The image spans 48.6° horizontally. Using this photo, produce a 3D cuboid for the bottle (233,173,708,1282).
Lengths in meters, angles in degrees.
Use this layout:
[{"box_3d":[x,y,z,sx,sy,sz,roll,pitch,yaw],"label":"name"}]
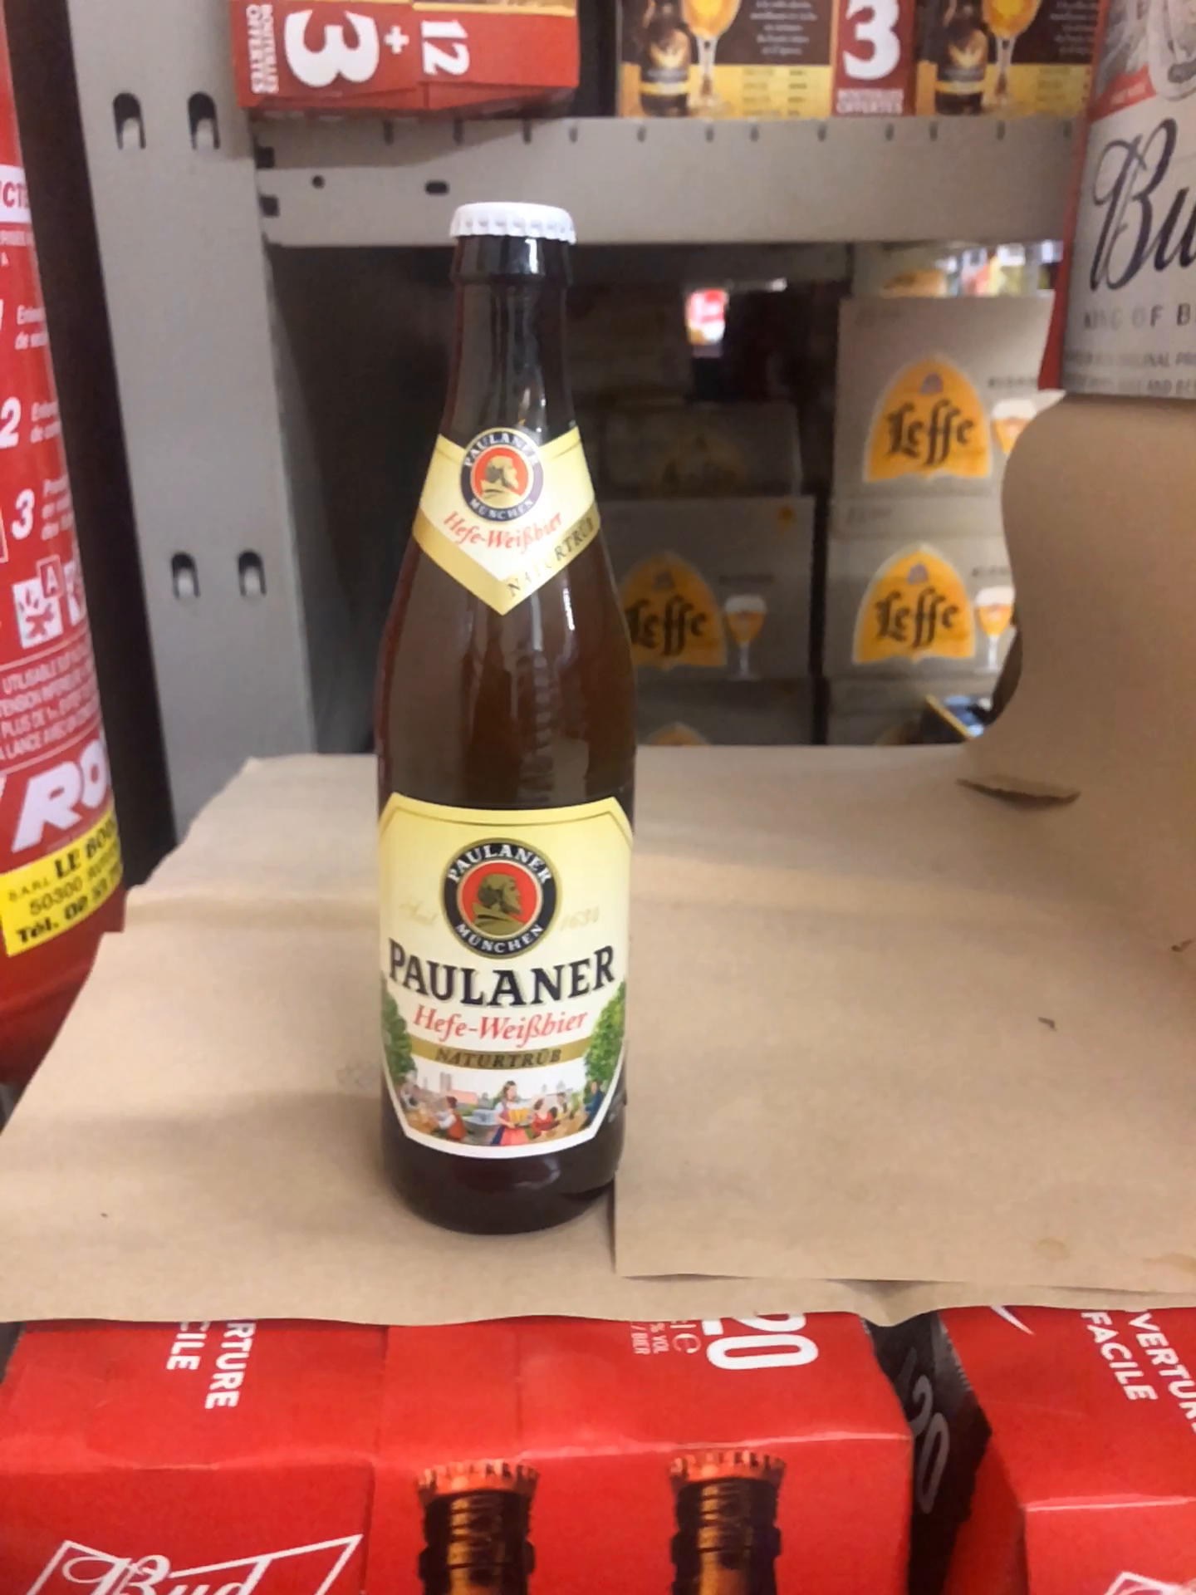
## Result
[{"box_3d":[-0.021,-0.014,0.322,0.080,0.239,0.080,-1,18,0],"label":"bottle"}]
